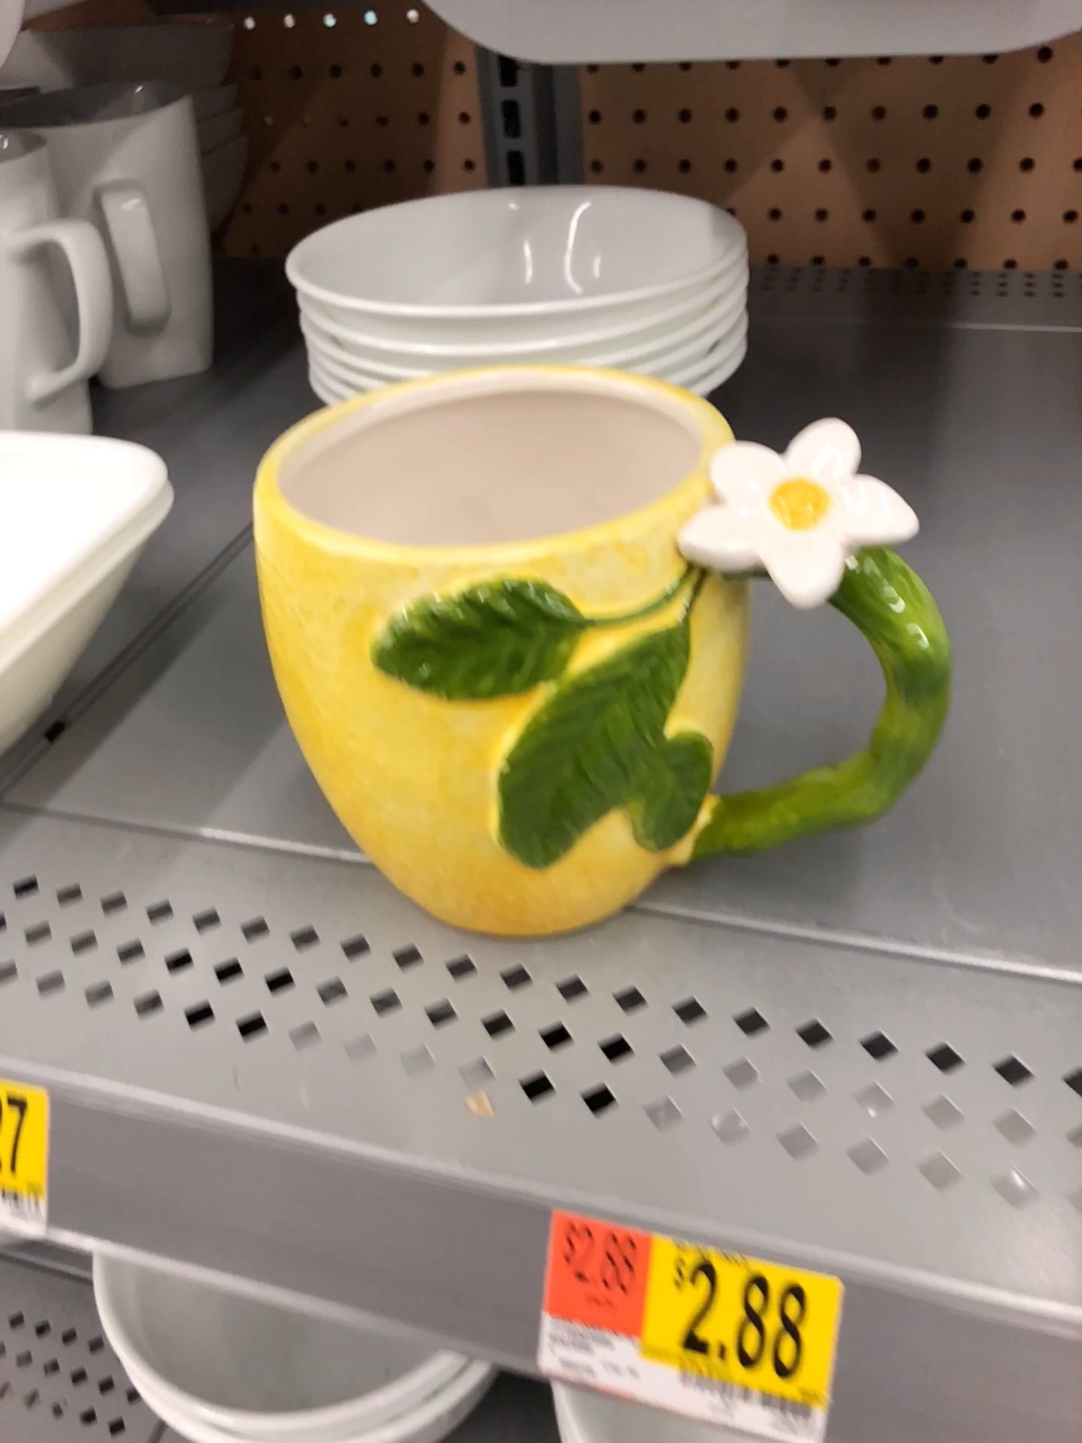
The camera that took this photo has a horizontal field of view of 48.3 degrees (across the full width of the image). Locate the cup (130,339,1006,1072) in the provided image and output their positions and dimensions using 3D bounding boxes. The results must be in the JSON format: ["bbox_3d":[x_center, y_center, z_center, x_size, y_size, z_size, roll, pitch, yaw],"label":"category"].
[{"bbox_3d":[0.014,-0.013,0.254,0.139,0.094,0.101,9,39,18],"label":"cup"}]
